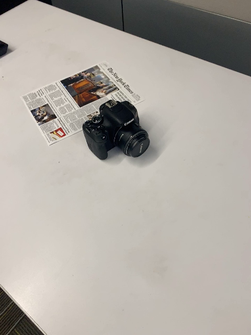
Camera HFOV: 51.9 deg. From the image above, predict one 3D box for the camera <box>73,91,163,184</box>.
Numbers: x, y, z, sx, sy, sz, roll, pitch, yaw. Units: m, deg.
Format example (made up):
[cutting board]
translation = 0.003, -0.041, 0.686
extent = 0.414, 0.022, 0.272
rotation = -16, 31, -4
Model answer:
[camera]
translation = -0.015, -0.074, 0.621
extent = 0.146, 0.100, 0.143
rotation = -36, 61, -18
